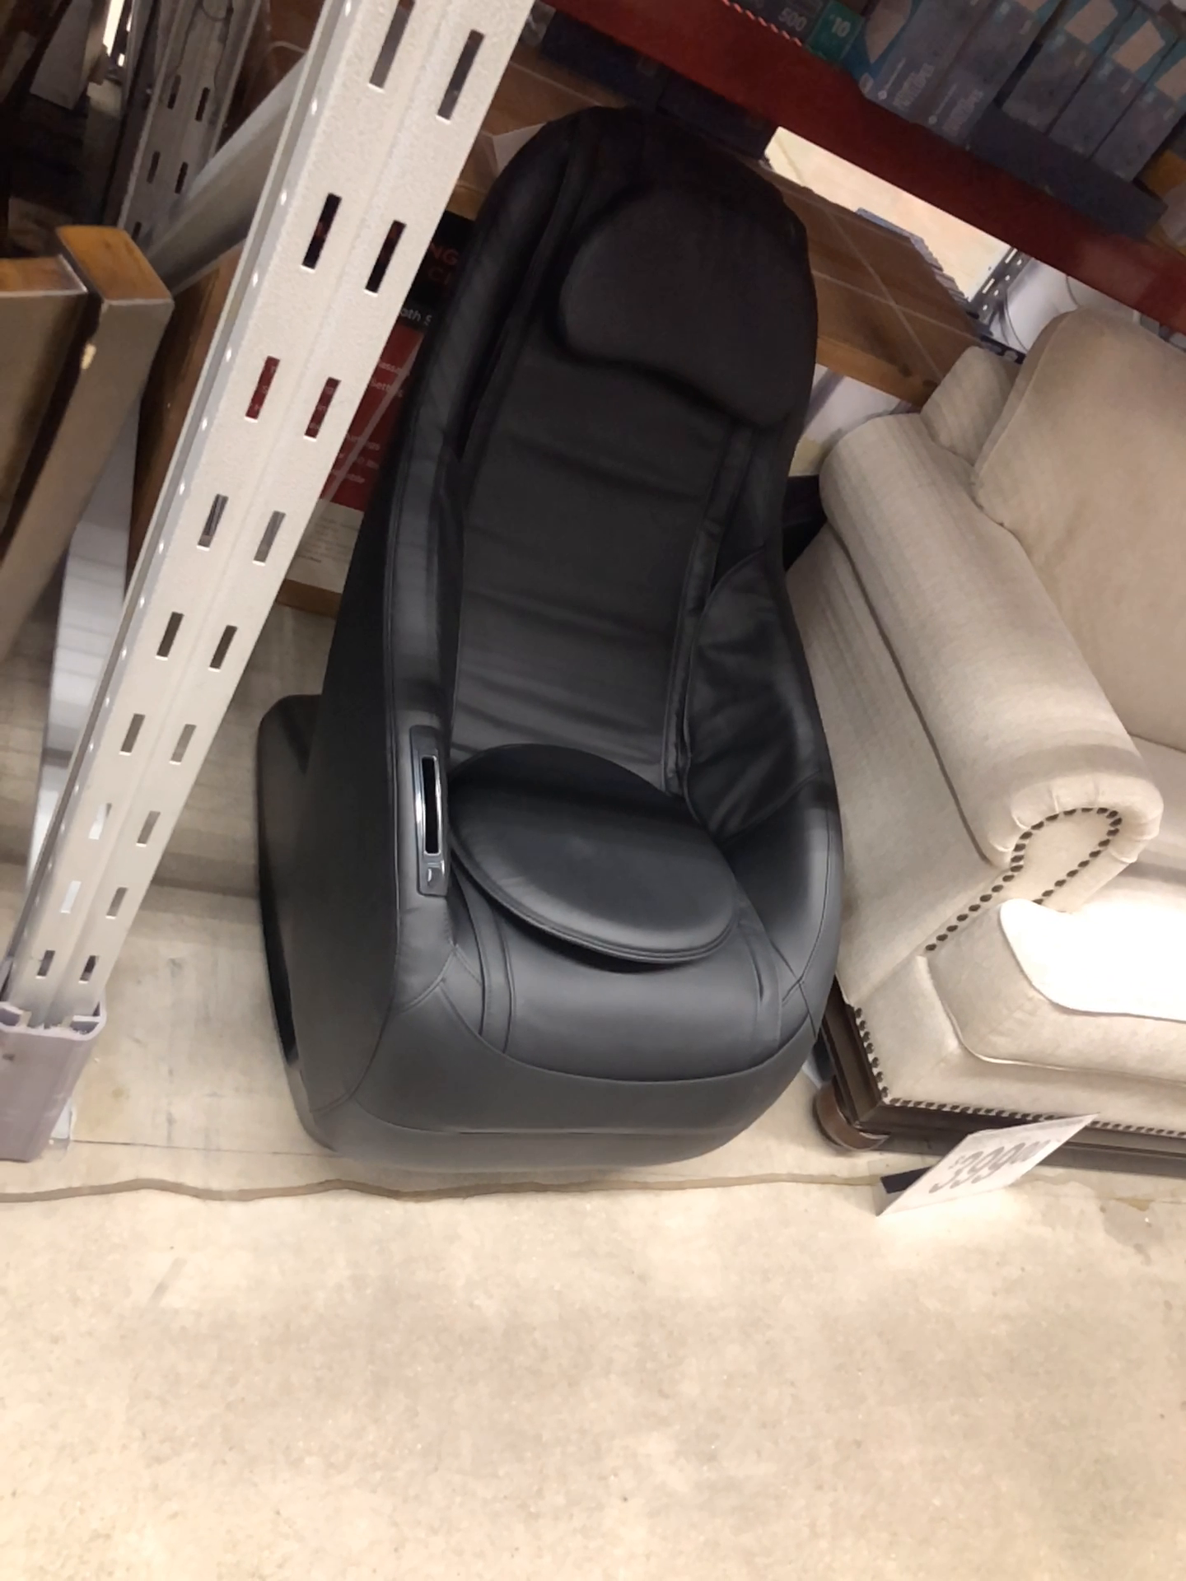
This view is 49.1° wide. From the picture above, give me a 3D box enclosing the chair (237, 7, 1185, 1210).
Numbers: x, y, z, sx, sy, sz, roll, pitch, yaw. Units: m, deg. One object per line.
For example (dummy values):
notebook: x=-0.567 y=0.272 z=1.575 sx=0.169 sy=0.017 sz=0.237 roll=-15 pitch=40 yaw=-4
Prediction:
chair: x=0.109 y=-0.102 z=1.343 sx=0.652 sy=0.847 sz=0.700 roll=8 pitch=46 yaw=-31
